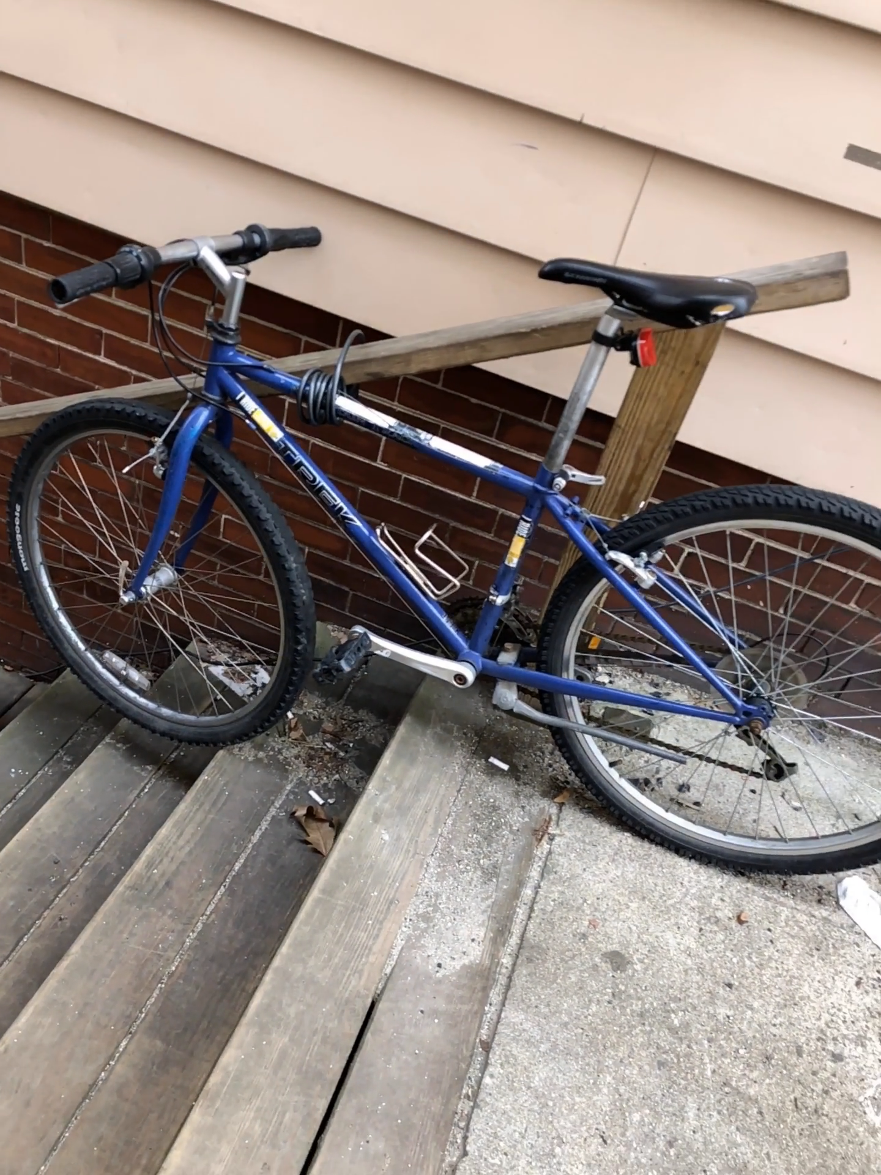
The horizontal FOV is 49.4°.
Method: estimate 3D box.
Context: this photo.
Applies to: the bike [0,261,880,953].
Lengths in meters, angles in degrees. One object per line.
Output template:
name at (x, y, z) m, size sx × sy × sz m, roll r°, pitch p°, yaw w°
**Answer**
bike at (0.029, -0.058, 1.610) m, size 1.520 × 0.619 × 0.535 m, roll 15°, pitch 34°, yaw 14°
